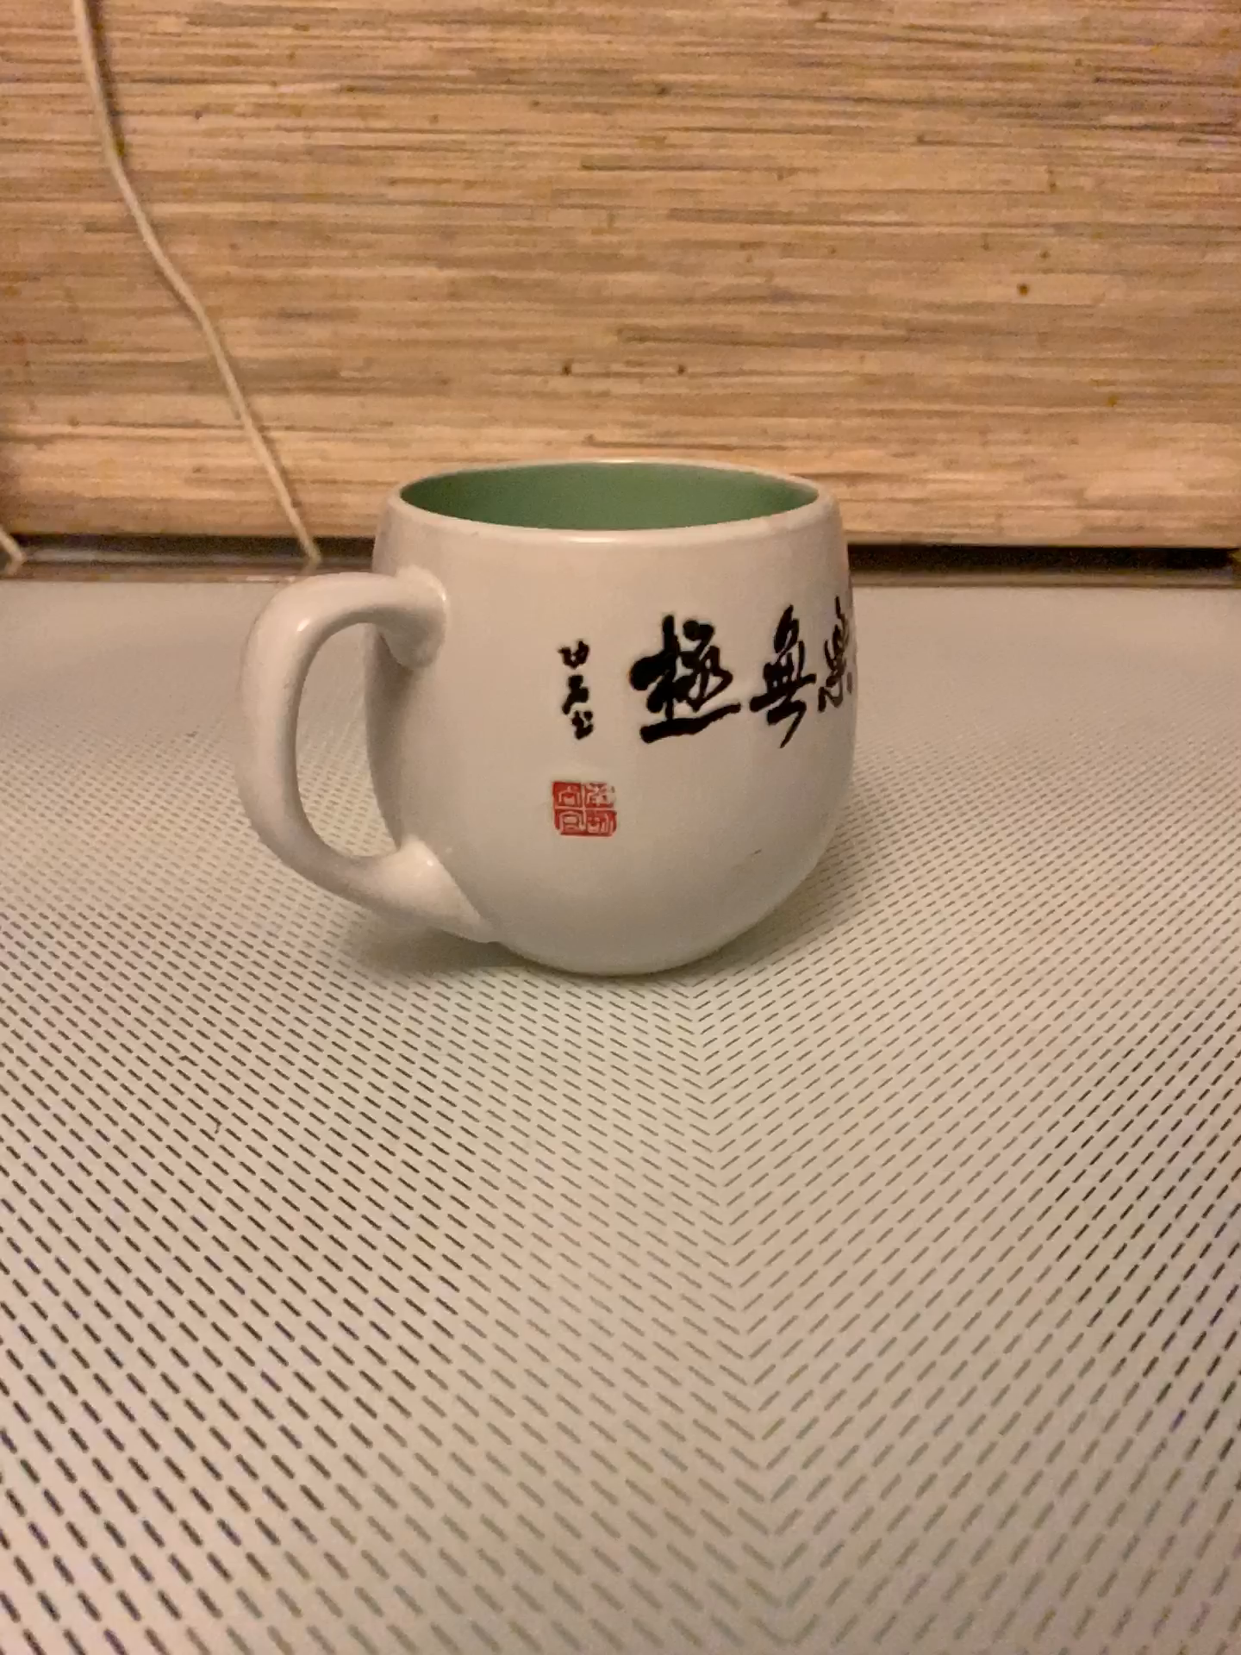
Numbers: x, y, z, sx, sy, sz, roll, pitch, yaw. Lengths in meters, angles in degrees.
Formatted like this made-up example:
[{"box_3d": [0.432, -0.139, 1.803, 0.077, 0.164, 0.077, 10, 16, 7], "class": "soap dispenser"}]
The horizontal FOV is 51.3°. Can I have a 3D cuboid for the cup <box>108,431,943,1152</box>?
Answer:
[{"box_3d": [-0.013, -0.022, 0.250, 0.088, 0.091, 0.124, 20, 29, 37], "class": "cup"}]
